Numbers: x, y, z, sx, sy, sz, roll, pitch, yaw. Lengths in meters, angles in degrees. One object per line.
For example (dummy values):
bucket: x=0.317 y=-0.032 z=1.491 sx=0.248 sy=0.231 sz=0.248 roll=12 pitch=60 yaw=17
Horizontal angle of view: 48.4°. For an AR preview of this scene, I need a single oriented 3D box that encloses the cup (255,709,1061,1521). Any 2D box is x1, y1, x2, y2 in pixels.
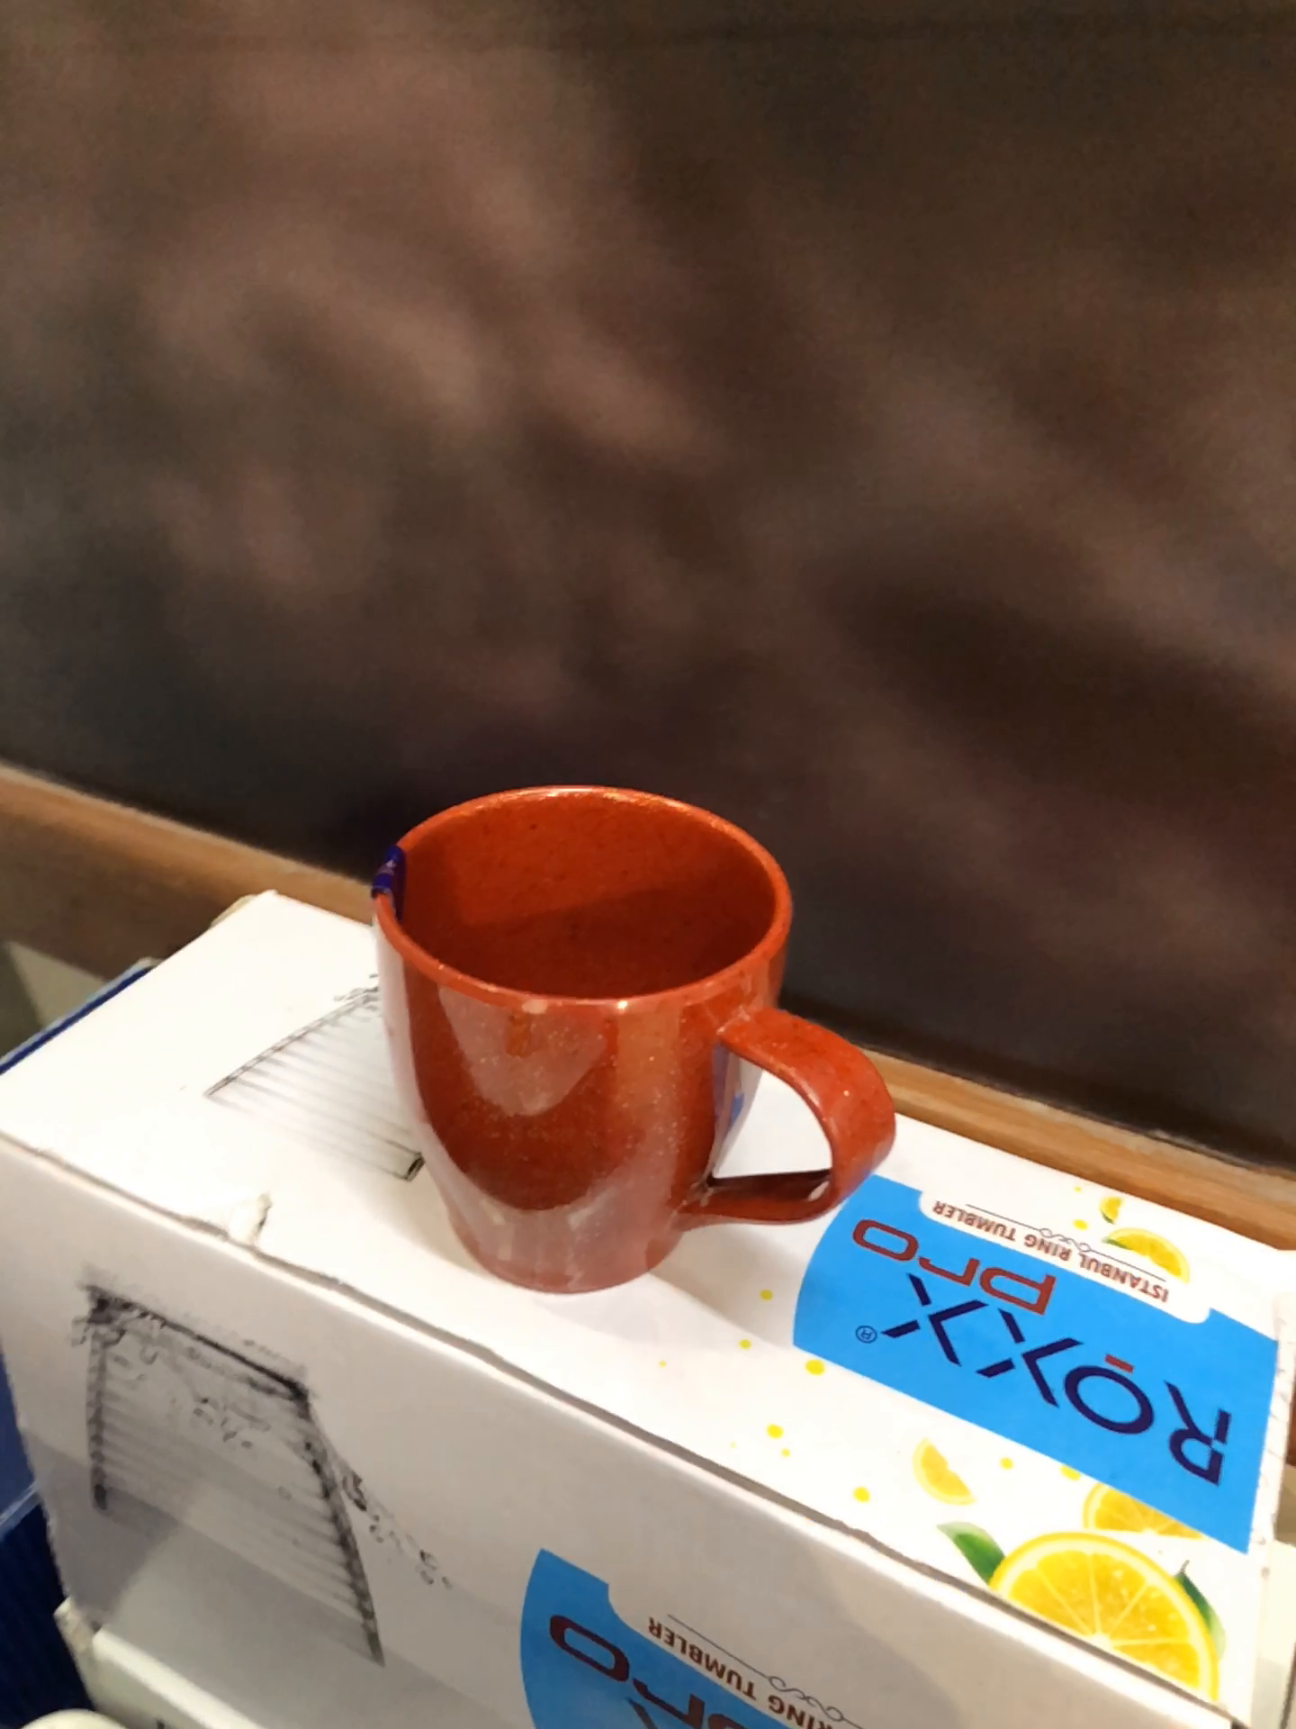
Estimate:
cup: x=-0.001 y=0.030 z=0.233 sx=0.100 sy=0.070 sz=0.070 roll=24 pitch=35 yaw=35
